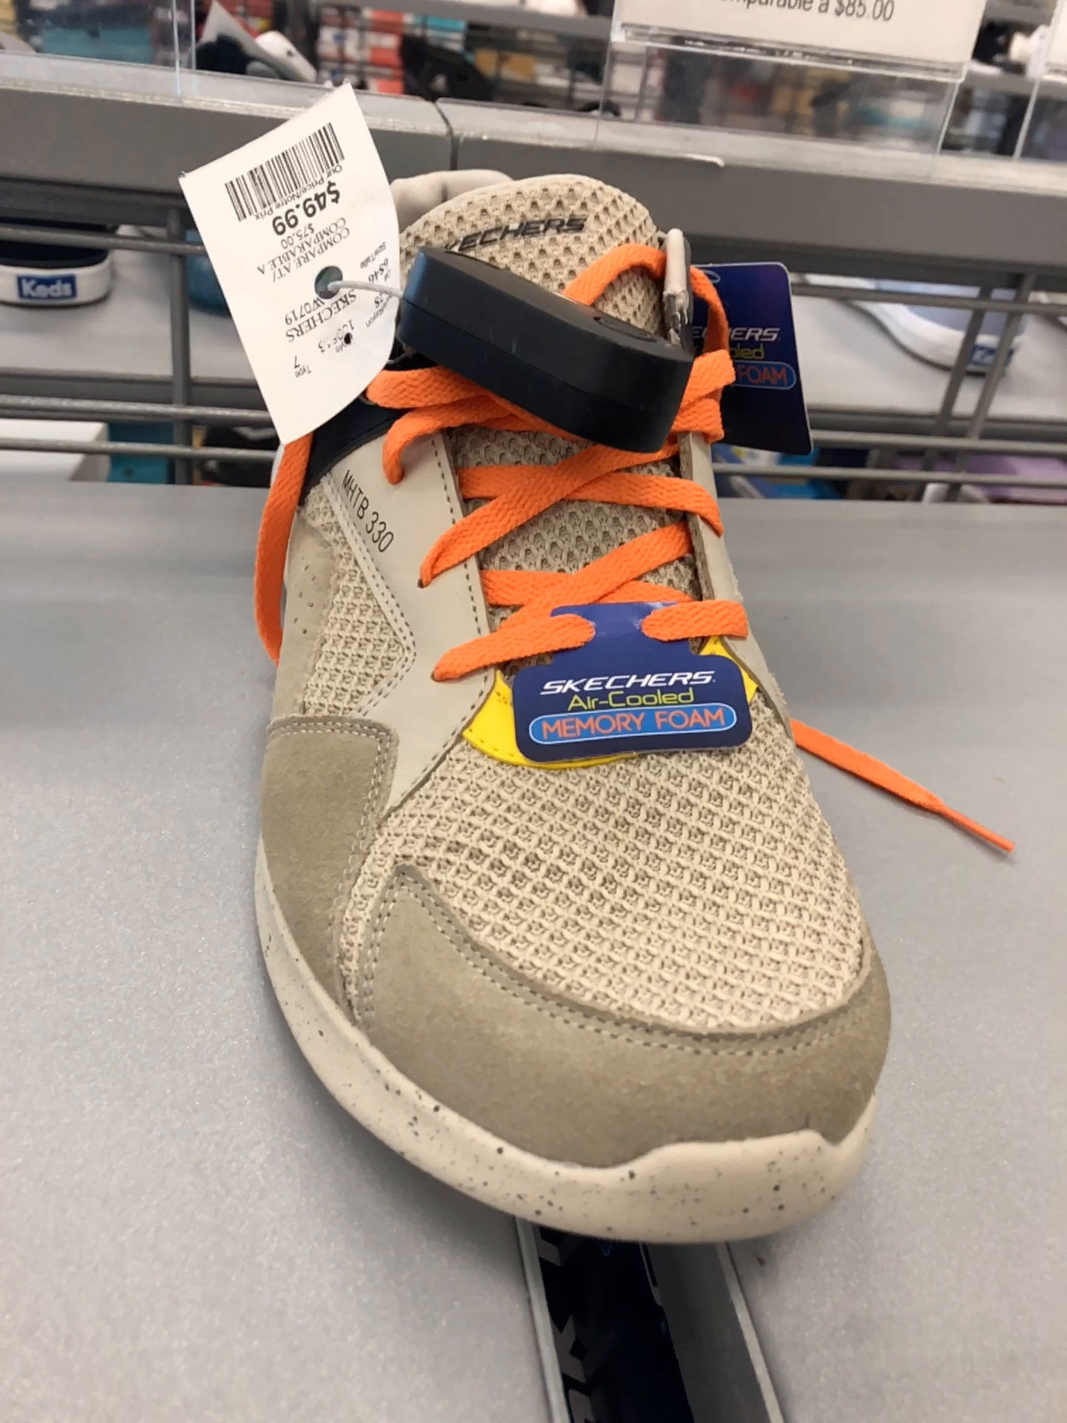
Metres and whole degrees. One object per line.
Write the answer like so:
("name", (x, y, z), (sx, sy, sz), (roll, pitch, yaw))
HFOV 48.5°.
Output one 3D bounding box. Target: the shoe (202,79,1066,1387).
("shoe", (-0.001, -0.037, 0.258), (0.125, 0.109, 0.282), (-2, 40, -17))
